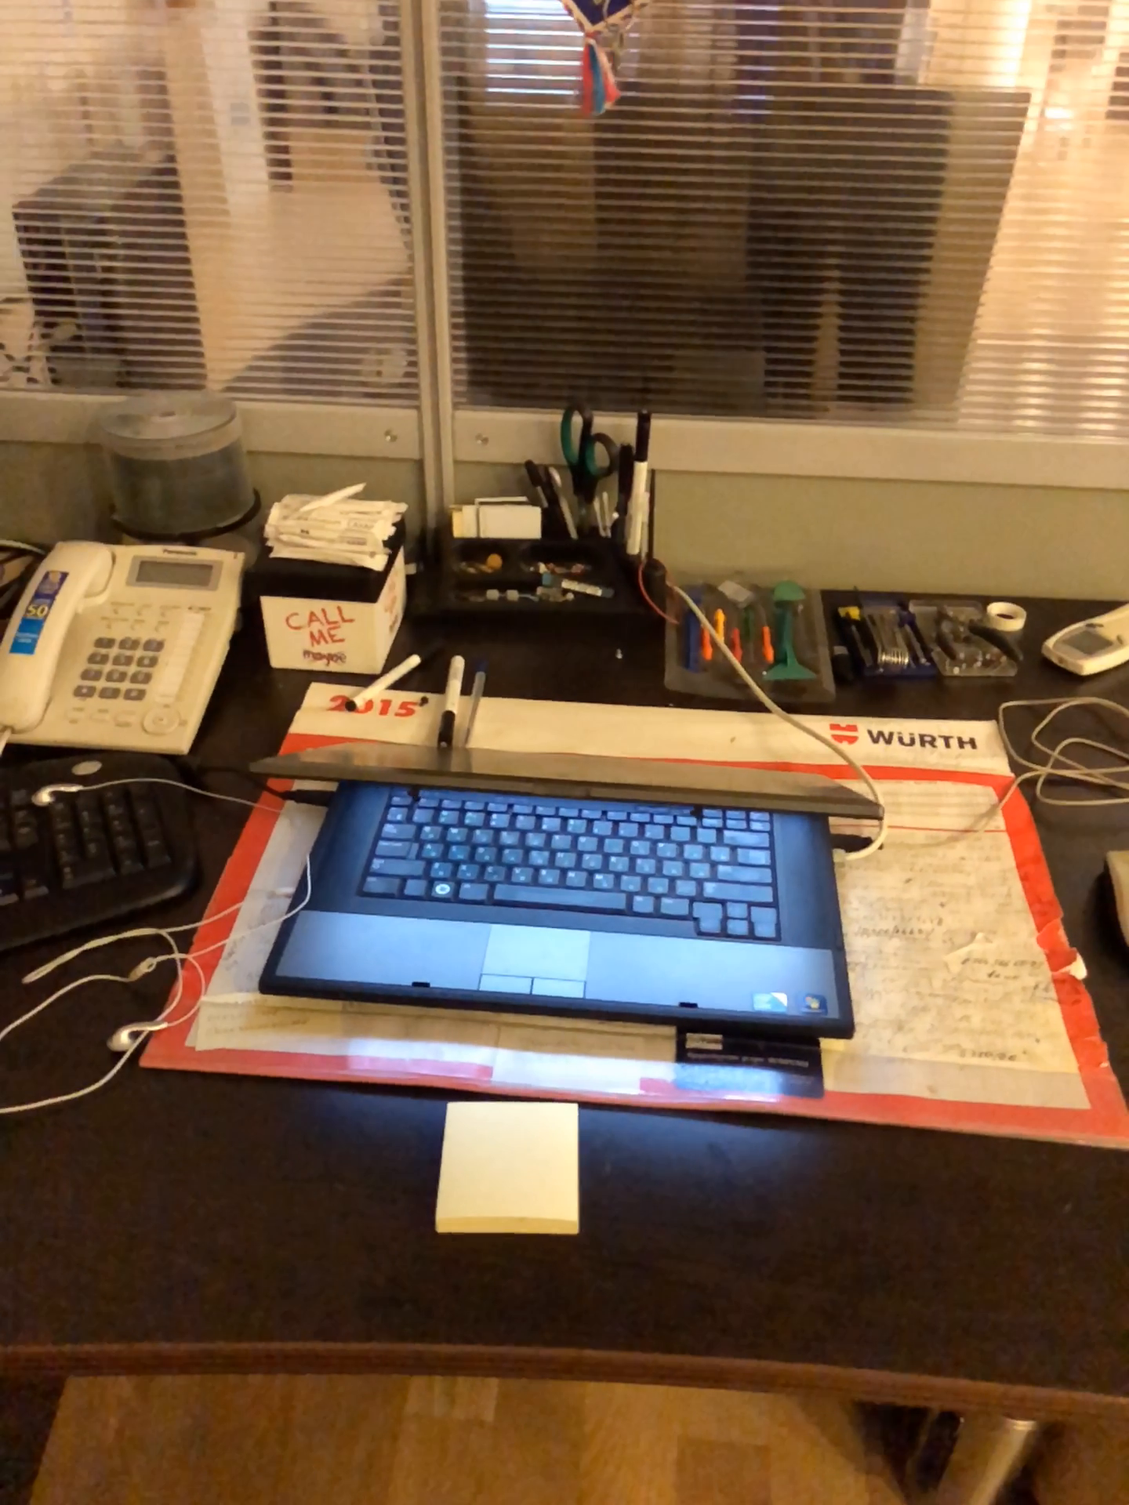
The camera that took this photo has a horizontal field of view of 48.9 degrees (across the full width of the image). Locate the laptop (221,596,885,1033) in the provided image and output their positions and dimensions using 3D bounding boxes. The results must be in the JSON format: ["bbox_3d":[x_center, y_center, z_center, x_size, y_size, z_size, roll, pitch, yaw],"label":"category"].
[{"bbox_3d":[0.002,0.029,0.804,0.357,0.141,0.240,4,35,3],"label":"laptop"}]
